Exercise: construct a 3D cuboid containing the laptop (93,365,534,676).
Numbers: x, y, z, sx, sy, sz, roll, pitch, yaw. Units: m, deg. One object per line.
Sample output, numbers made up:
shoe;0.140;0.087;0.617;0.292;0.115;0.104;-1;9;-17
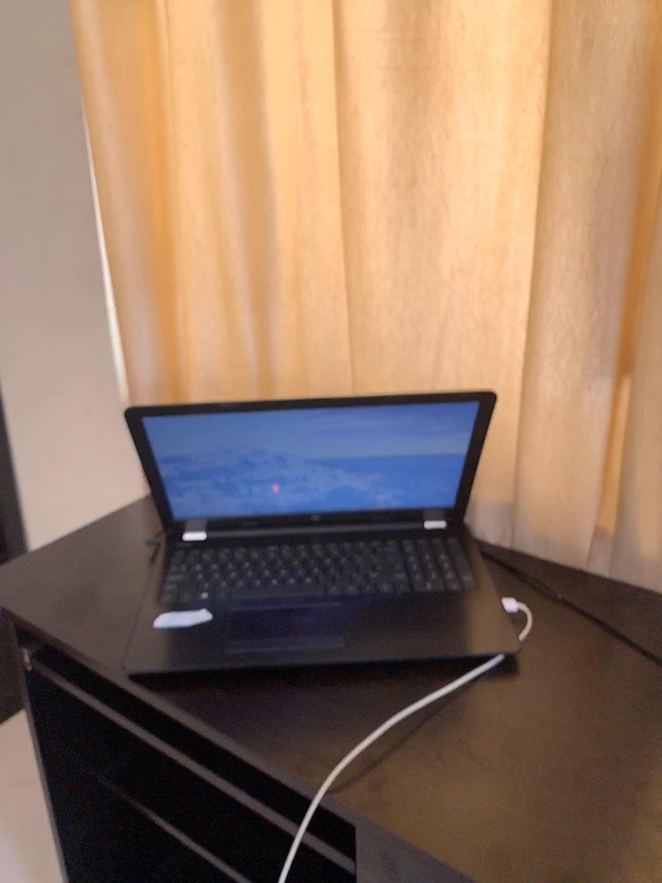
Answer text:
laptop;-0.017;0.064;0.711;0.362;0.201;0.239;-3;22;0
